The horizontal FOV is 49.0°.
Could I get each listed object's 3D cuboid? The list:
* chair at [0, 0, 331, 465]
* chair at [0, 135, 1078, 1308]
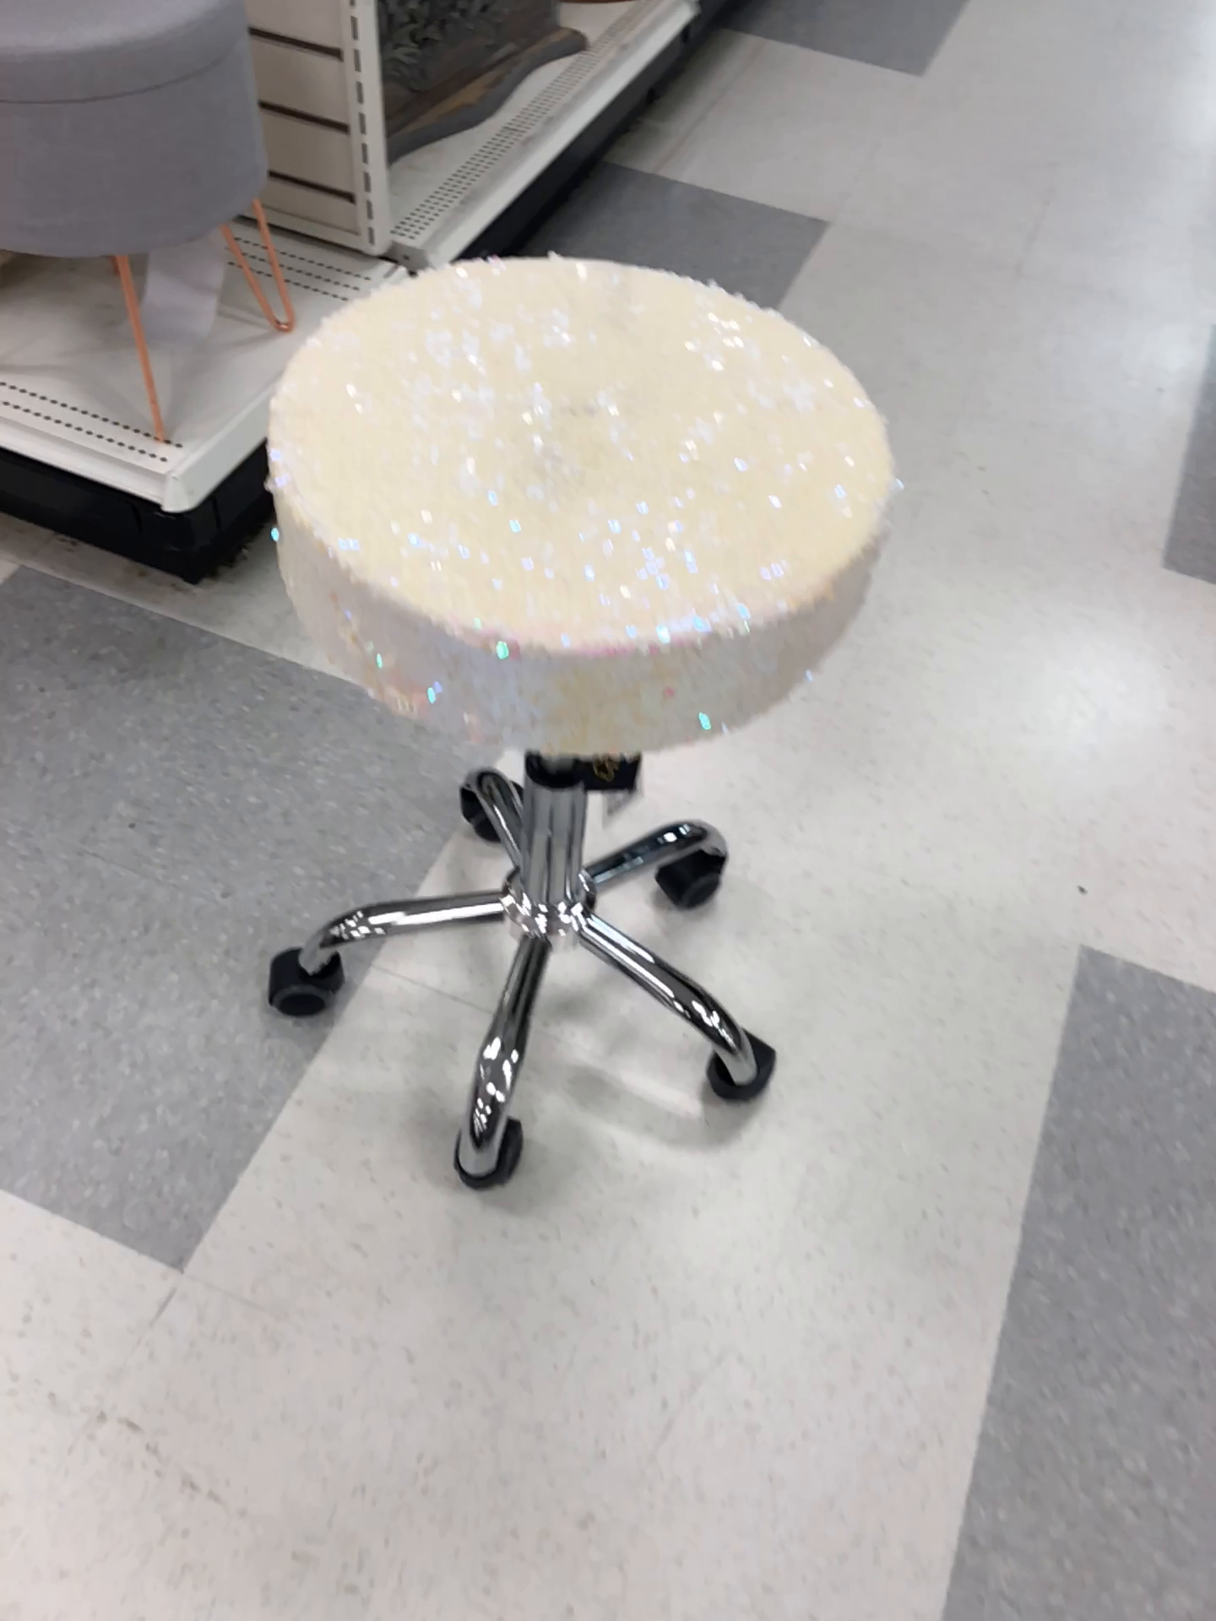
[{"bbox_3d":[-0.490,-0.610,1.254,0.305,0.383,0.308,20,52,11],"label":"chair"},{"bbox_3d":[-0.029,-0.041,0.957,0.465,0.591,0.439,20,52,11],"label":"chair"}]
